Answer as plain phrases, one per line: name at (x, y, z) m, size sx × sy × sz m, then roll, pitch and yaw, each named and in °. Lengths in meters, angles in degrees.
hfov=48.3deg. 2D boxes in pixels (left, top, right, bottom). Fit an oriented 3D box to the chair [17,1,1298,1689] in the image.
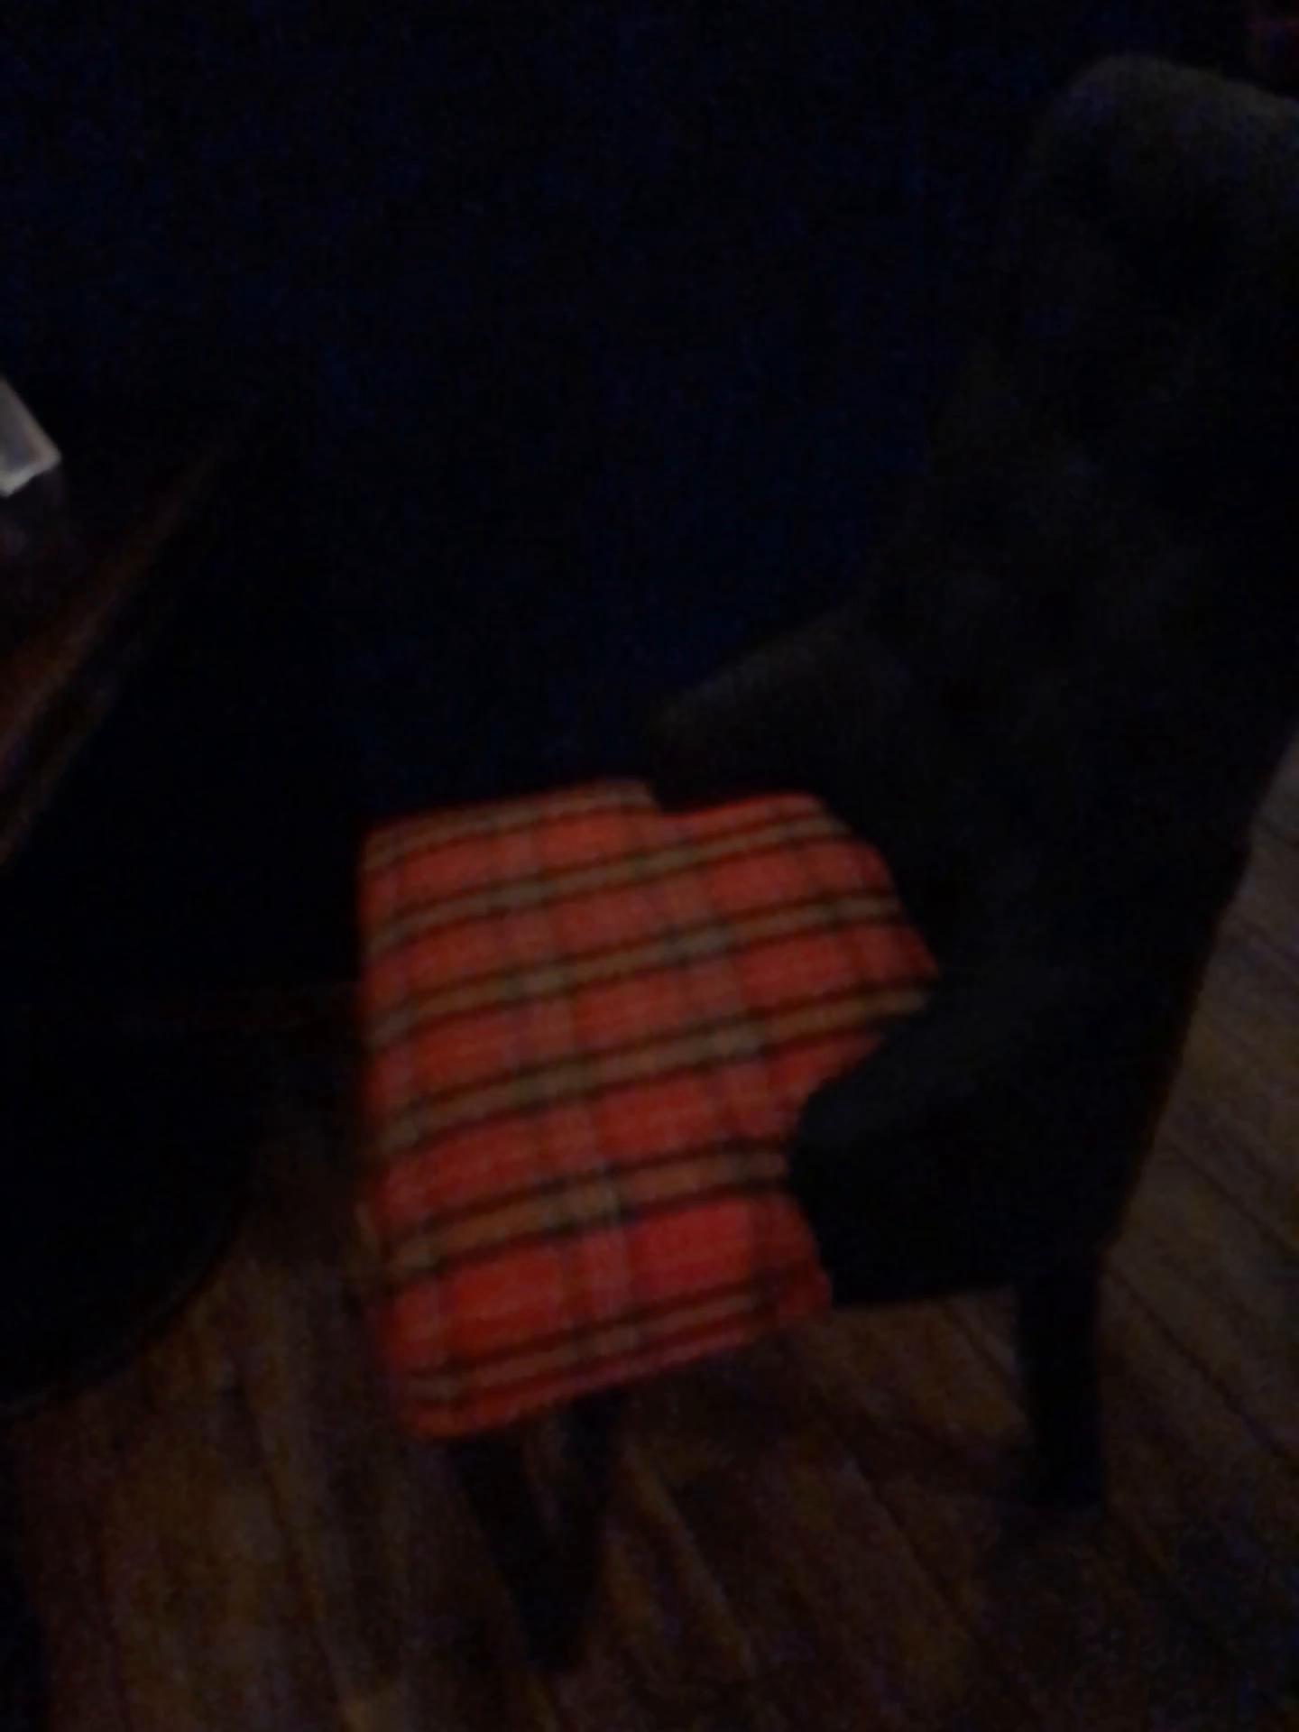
chair at (0.079, 0.022, 1.050) m, size 0.610 × 1.003 × 0.524 m, roll -12°, pitch 37°, yaw -5°
